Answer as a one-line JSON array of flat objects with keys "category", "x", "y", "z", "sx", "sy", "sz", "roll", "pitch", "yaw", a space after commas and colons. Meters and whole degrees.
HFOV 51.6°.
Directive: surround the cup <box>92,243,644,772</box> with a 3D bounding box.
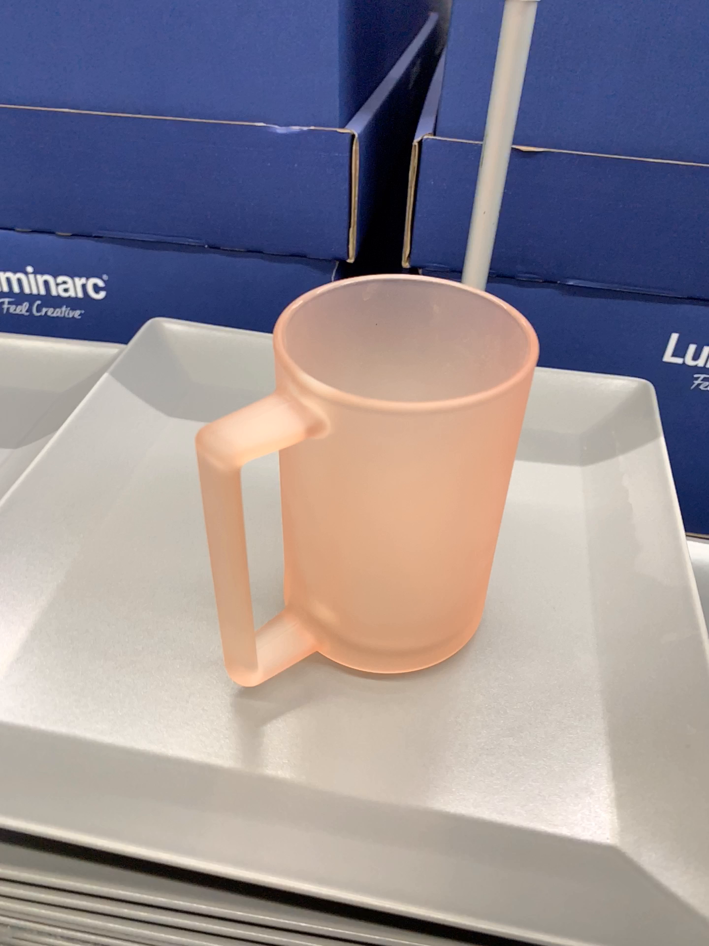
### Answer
[{"category": "cup", "x": 0.001, "y": 0.000, "z": 0.231, "sx": 0.120, "sy": 0.095, "sz": 0.095, "roll": -22, "pitch": 44, "yaw": -29}]
